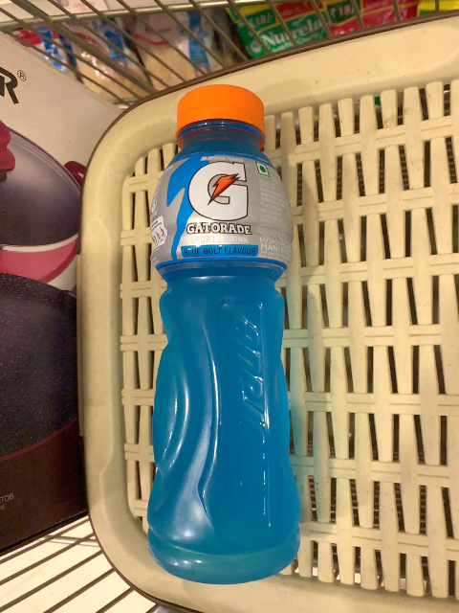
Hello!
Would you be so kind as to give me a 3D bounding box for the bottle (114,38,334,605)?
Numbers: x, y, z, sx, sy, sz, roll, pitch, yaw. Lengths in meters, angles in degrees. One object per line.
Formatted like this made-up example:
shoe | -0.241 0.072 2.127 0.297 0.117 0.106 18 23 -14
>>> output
bottle | -0.001 0.005 0.211 0.080 0.060 0.210 -2 88 7
